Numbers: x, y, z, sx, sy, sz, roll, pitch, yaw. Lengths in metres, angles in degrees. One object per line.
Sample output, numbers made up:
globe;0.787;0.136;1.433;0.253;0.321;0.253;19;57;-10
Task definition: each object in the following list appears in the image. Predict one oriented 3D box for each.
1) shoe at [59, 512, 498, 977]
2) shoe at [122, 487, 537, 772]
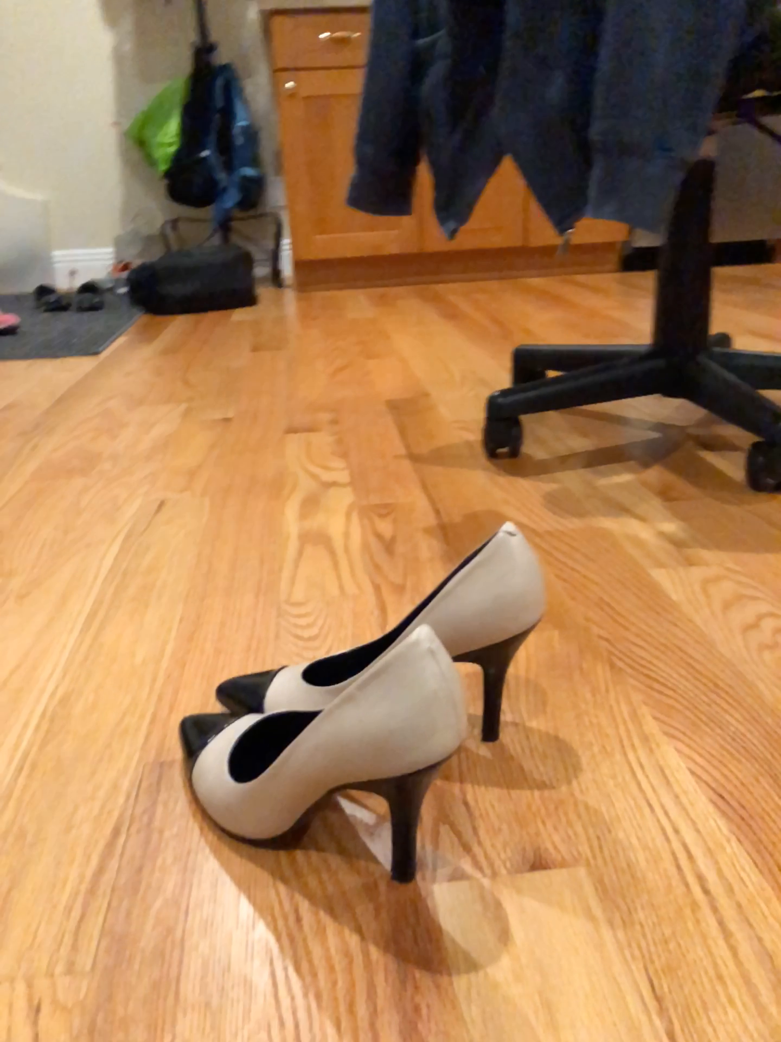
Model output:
shoe;-0.065;0.096;0.451;0.235;0.138;0.085;15;27;40
shoe;-0.030;0.061;0.537;0.235;0.138;0.085;2;20;13
